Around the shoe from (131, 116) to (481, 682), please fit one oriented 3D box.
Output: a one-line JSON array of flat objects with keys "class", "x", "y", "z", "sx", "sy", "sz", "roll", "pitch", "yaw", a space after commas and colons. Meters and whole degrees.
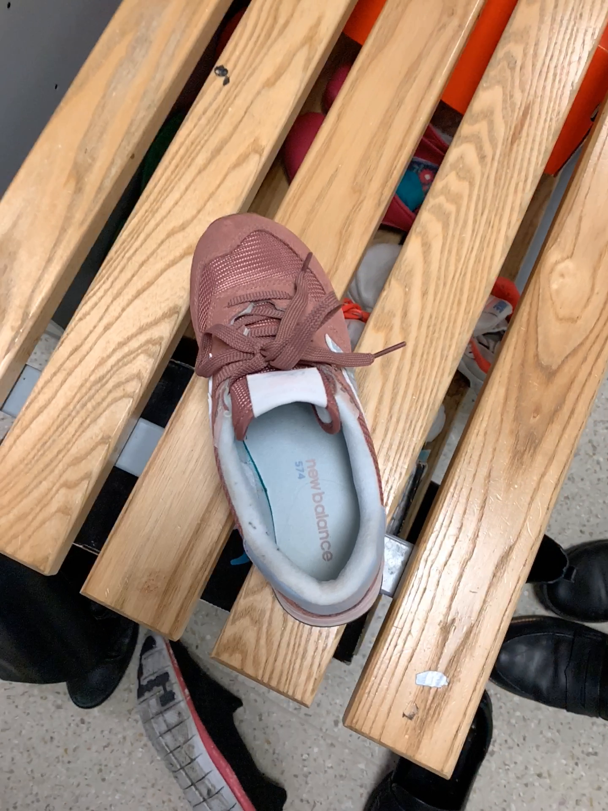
[{"class": "shoe", "x": -0.005, "y": -0.005, "z": 0.351, "sx": 0.109, "sy": 0.105, "sz": 0.260, "roll": -14, "pitch": 78, "yaw": -1}]
